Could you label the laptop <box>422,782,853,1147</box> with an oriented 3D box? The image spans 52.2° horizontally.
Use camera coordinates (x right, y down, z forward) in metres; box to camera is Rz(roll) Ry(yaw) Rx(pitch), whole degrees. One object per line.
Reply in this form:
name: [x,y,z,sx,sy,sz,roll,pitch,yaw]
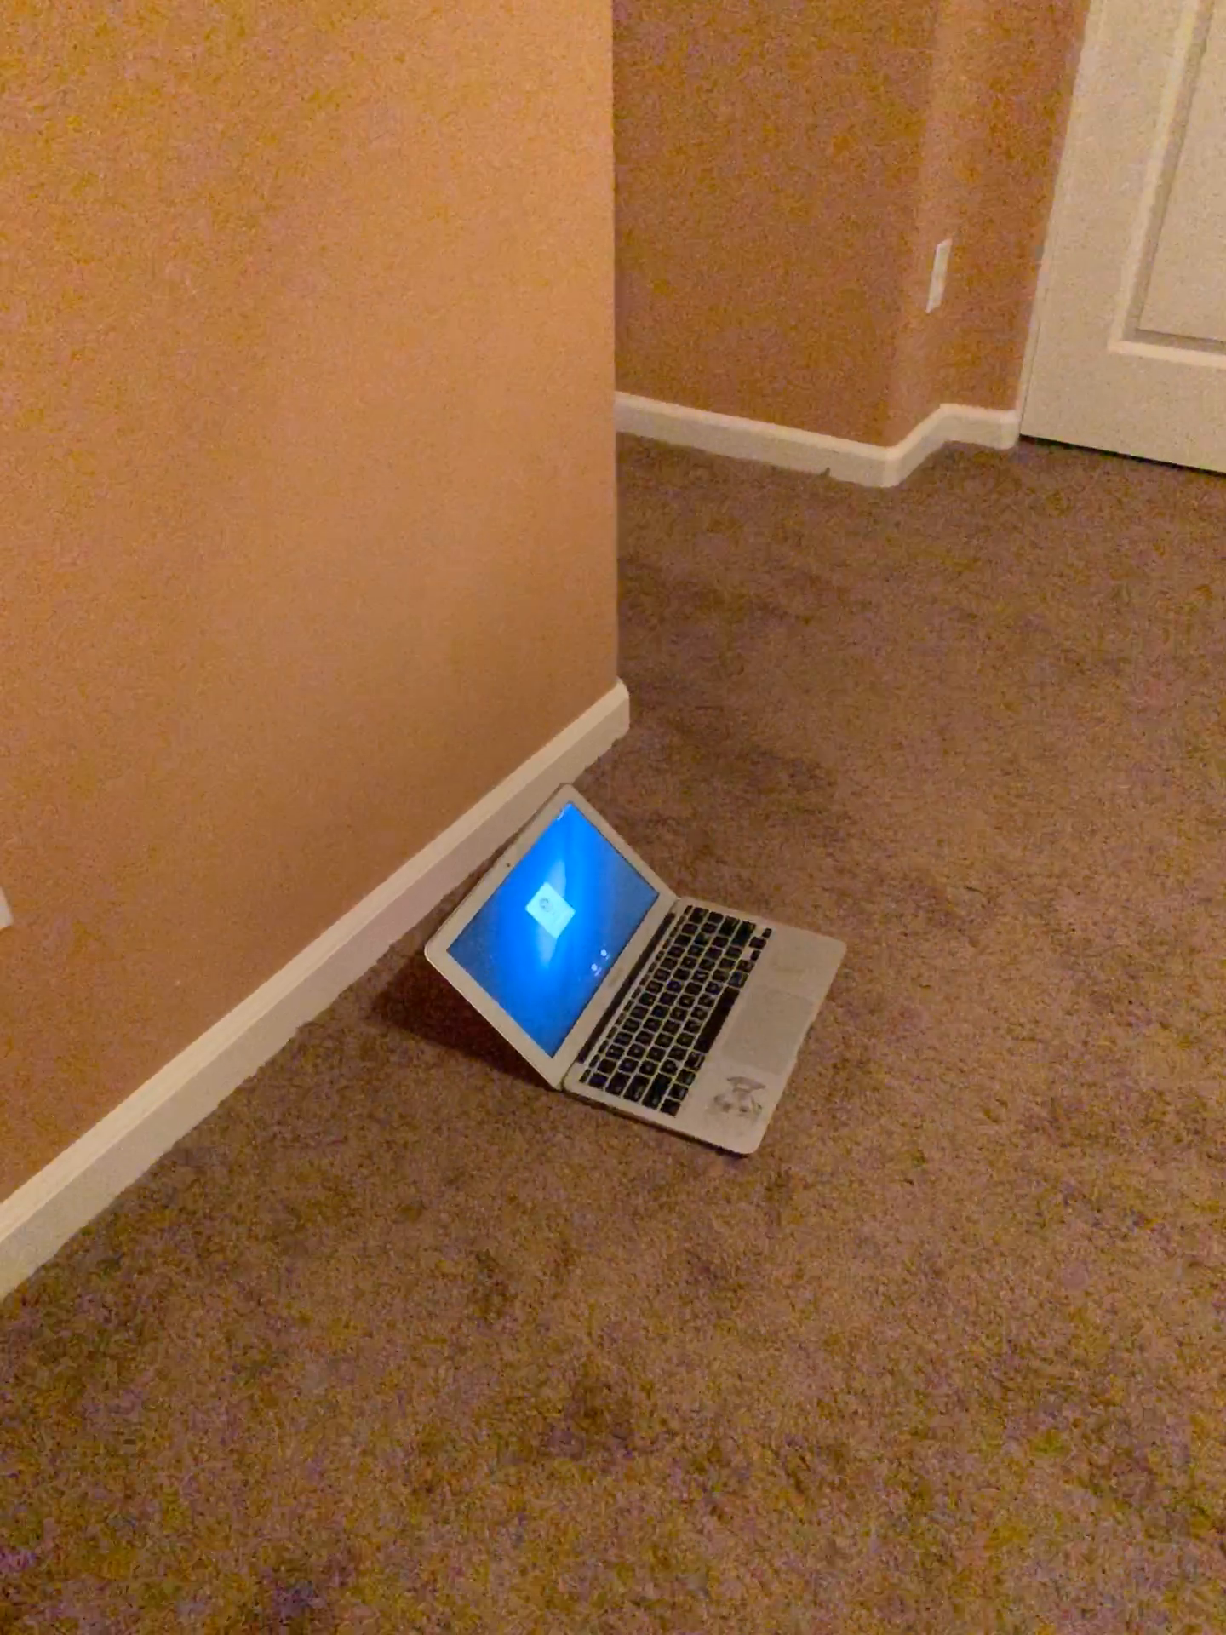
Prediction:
laptop: [0.034,0.126,1.232,0.324,0.116,0.300,14,38,20]
